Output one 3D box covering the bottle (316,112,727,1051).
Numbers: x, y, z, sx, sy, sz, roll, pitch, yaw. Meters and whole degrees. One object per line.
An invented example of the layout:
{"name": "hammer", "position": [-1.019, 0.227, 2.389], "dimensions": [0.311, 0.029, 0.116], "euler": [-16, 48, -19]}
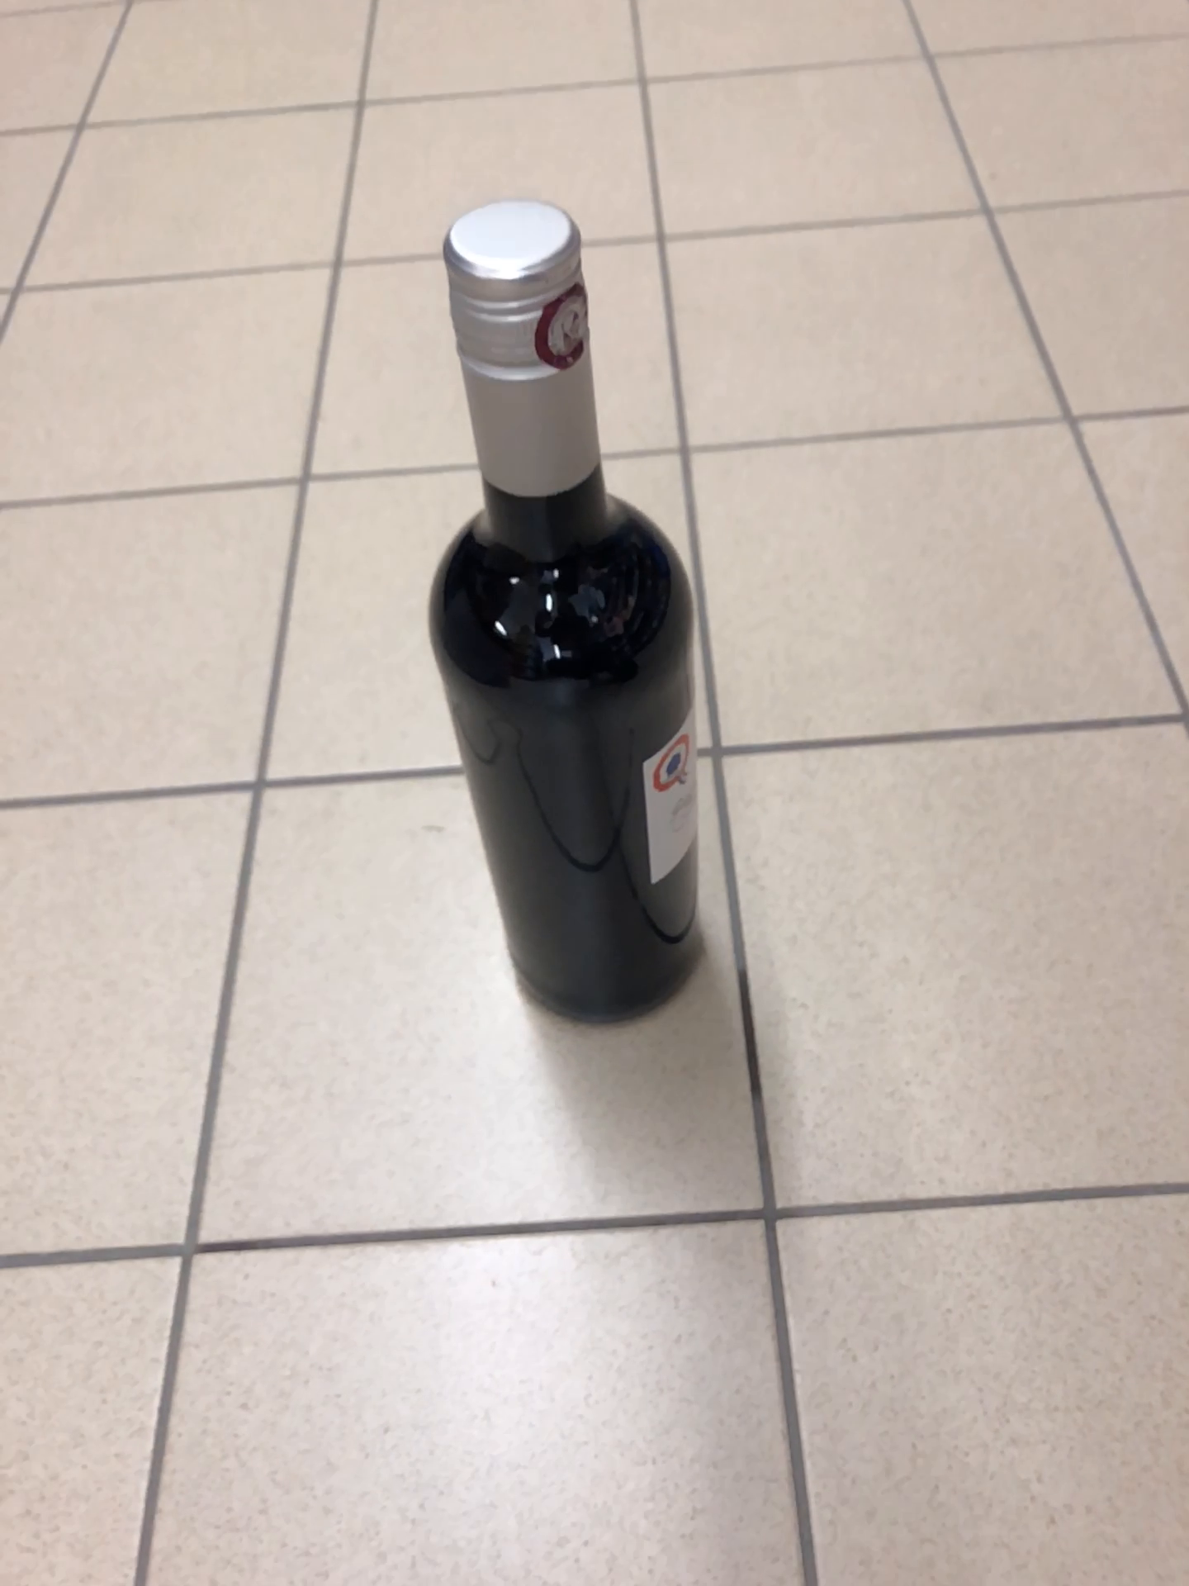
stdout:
{"name": "bottle", "position": [-0.008, -0.031, 0.399], "dimensions": [0.080, 0.298, 0.080], "euler": [-3, 53, 3]}
